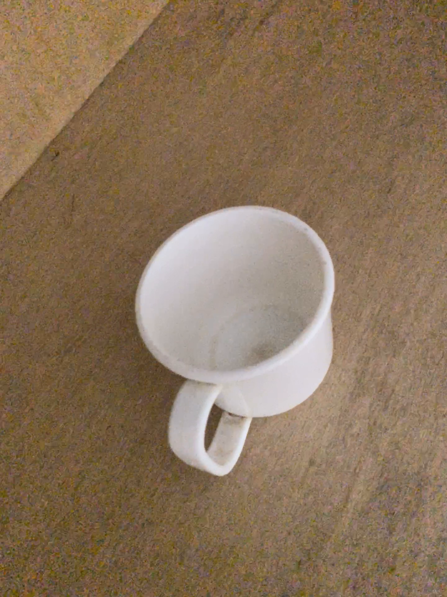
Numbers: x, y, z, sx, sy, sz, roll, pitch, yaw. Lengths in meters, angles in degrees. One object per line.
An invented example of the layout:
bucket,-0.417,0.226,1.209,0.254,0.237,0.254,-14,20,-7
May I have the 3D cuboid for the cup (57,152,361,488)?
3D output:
cup,0.006,0.005,0.195,0.080,0.070,0.110,8,62,23
